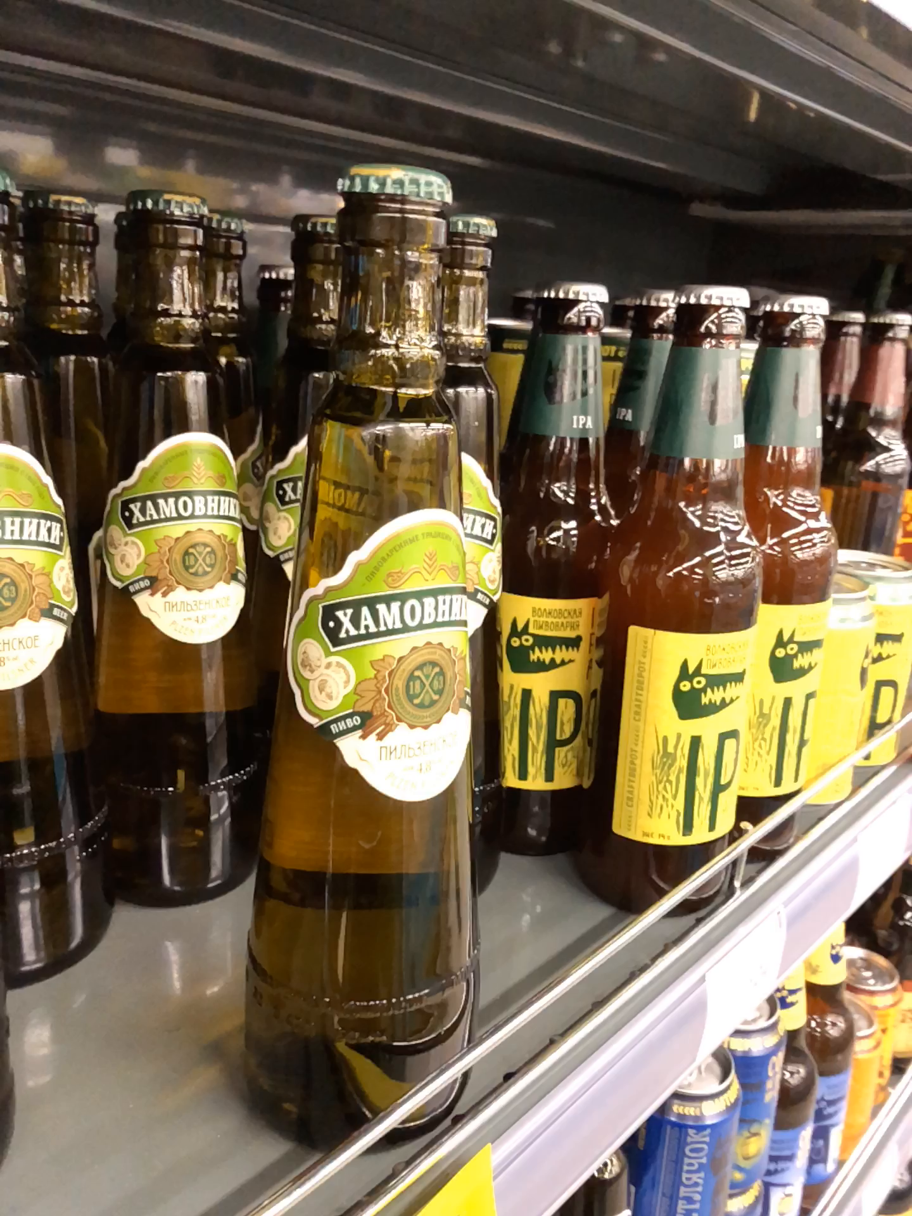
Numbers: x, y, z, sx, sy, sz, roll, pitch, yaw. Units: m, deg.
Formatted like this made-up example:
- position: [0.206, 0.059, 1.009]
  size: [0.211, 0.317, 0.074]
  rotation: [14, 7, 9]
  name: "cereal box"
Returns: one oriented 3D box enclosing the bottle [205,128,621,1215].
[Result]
- position: [-0.019, 0.020, 0.274]
  size: [0.070, 0.261, 0.070]
  rotation: [3, 16, -1]
  name: "bottle"
